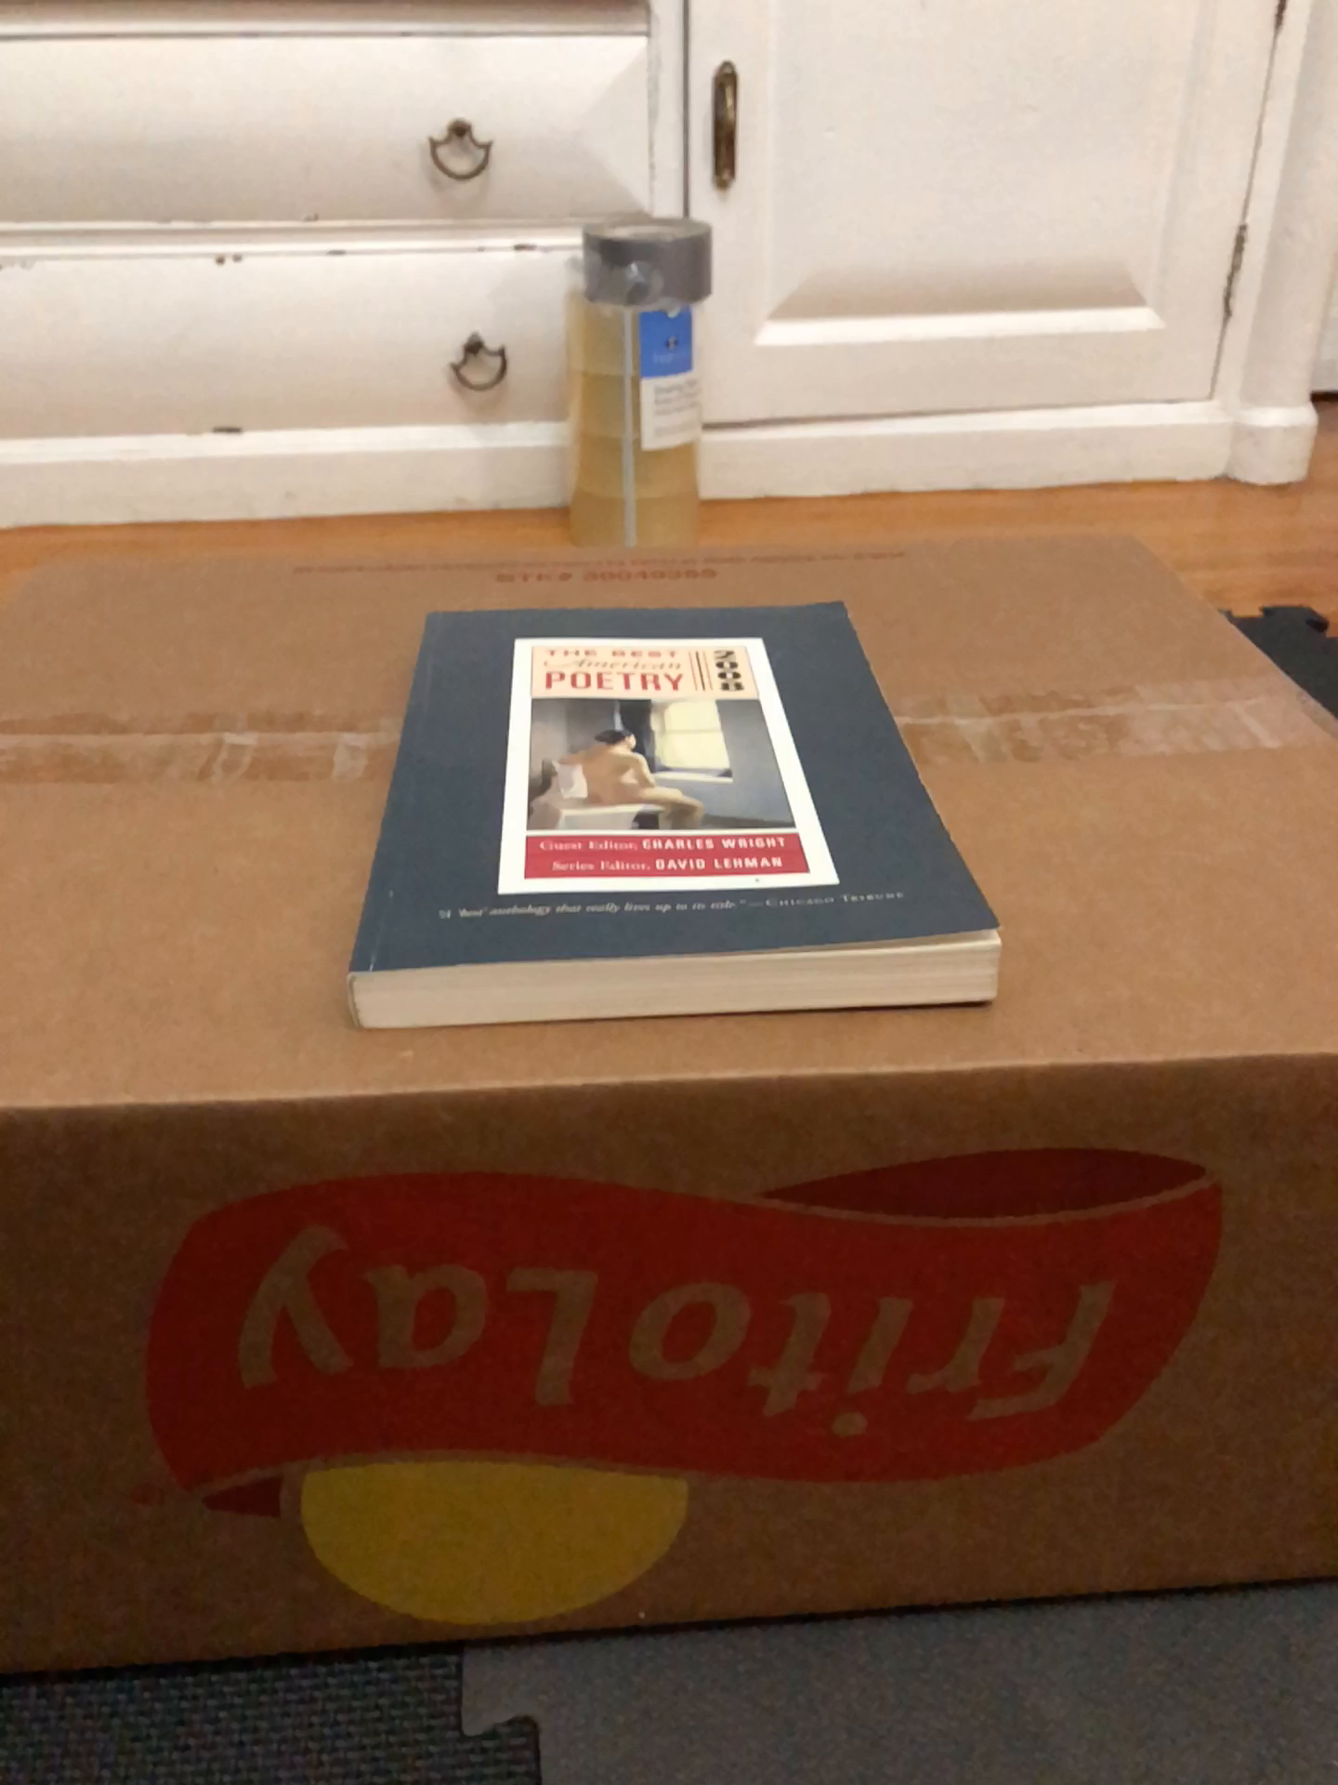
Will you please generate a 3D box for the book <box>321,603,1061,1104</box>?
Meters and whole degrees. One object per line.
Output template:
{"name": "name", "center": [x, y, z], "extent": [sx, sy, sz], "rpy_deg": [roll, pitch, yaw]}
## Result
{"name": "book", "center": [-0.003, -0.027, 0.402], "extent": [0.150, 0.020, 0.231], "rpy_deg": [-3, 31, -4]}
